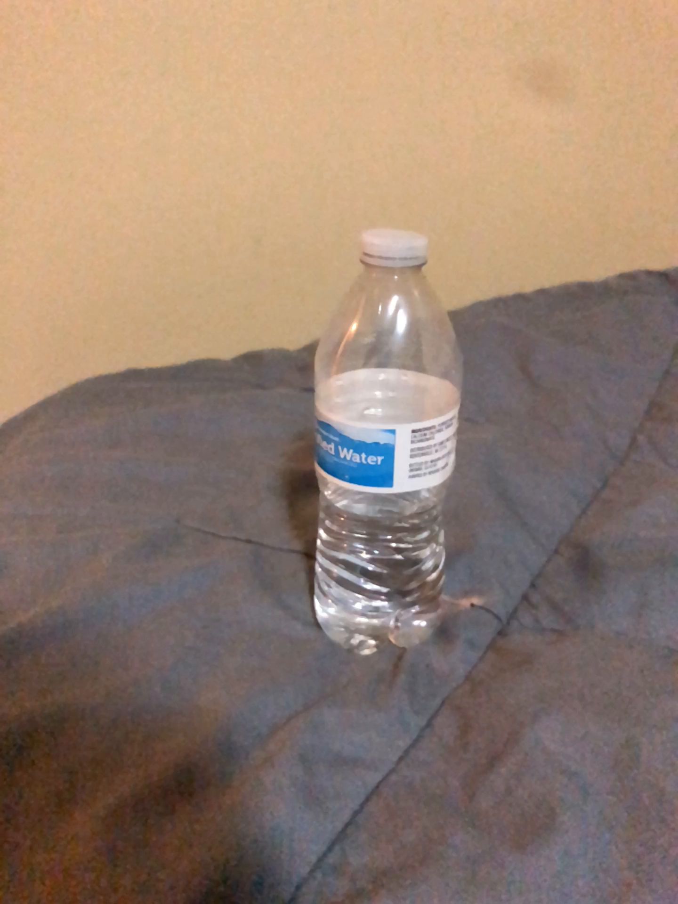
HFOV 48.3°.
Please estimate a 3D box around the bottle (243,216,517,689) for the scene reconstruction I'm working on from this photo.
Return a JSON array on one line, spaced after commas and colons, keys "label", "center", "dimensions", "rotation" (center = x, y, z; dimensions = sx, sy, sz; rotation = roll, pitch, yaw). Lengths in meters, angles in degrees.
[{"label": "bottle", "center": [0.017, -0.003, 0.352], "dimensions": [0.080, 0.190, 0.080], "rotation": [-1, 24, 0]}]
